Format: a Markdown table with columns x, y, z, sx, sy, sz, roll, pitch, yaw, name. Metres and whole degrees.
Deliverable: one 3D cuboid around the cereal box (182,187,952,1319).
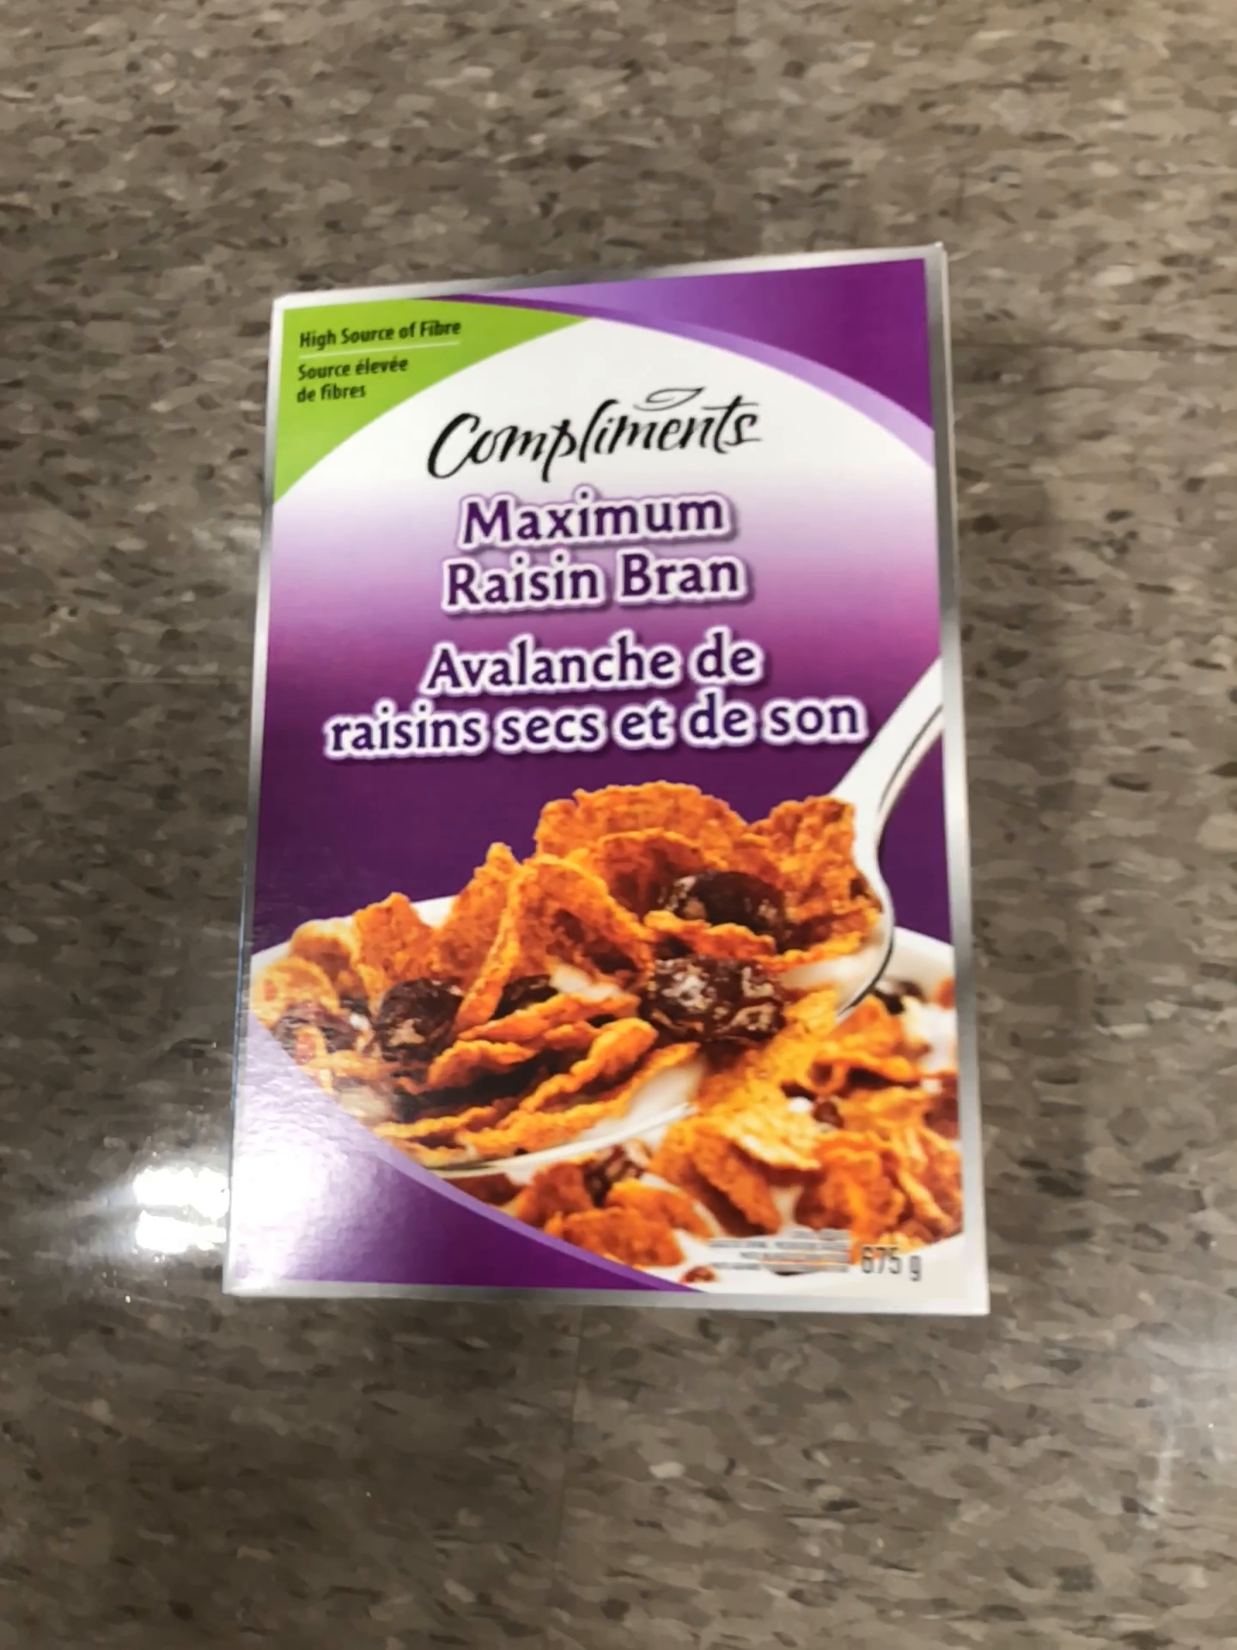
| x | y | z | sx | sy | sz | roll | pitch | yaw | name |
| --- | --- | --- | --- | --- | --- | --- | --- | --- | --- |
| -0.008 | -0.024 | 0.417 | 0.200 | 0.070 | 0.310 | 0 | 79 | 9 | cereal box |
